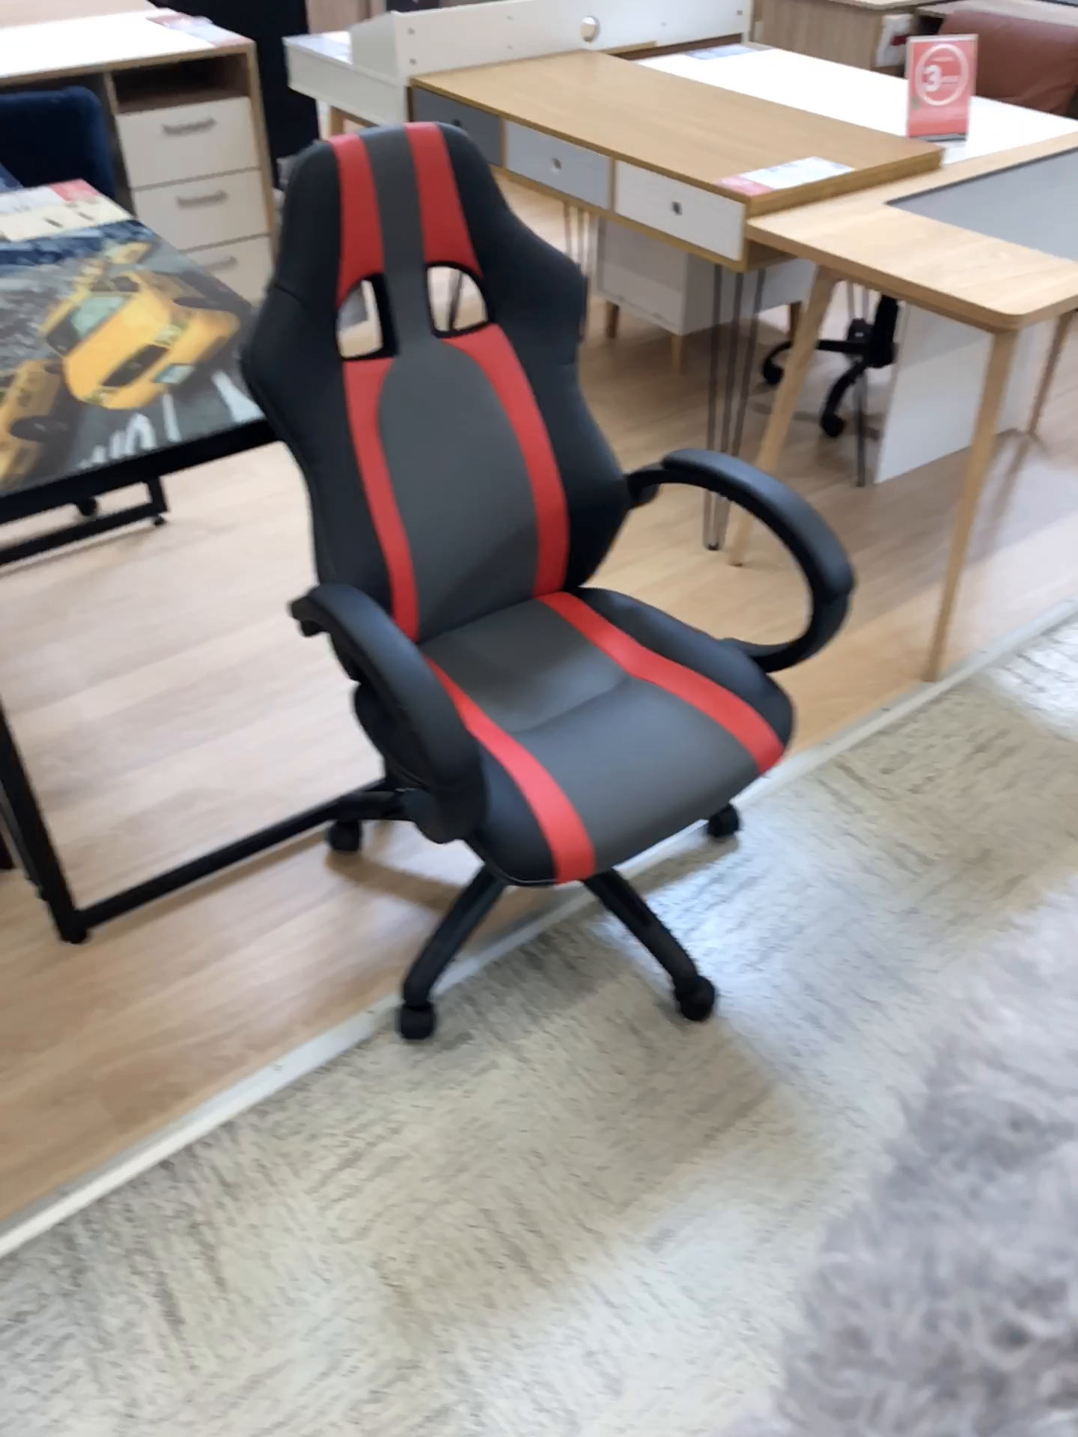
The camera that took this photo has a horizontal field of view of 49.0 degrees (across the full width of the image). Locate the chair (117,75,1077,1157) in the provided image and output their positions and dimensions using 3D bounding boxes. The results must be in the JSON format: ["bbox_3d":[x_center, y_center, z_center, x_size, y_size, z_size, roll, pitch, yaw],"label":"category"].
[{"bbox_3d":[0.052,-0.167,1.434,0.693,0.925,0.691,-24,45,-28],"label":"chair"}]
